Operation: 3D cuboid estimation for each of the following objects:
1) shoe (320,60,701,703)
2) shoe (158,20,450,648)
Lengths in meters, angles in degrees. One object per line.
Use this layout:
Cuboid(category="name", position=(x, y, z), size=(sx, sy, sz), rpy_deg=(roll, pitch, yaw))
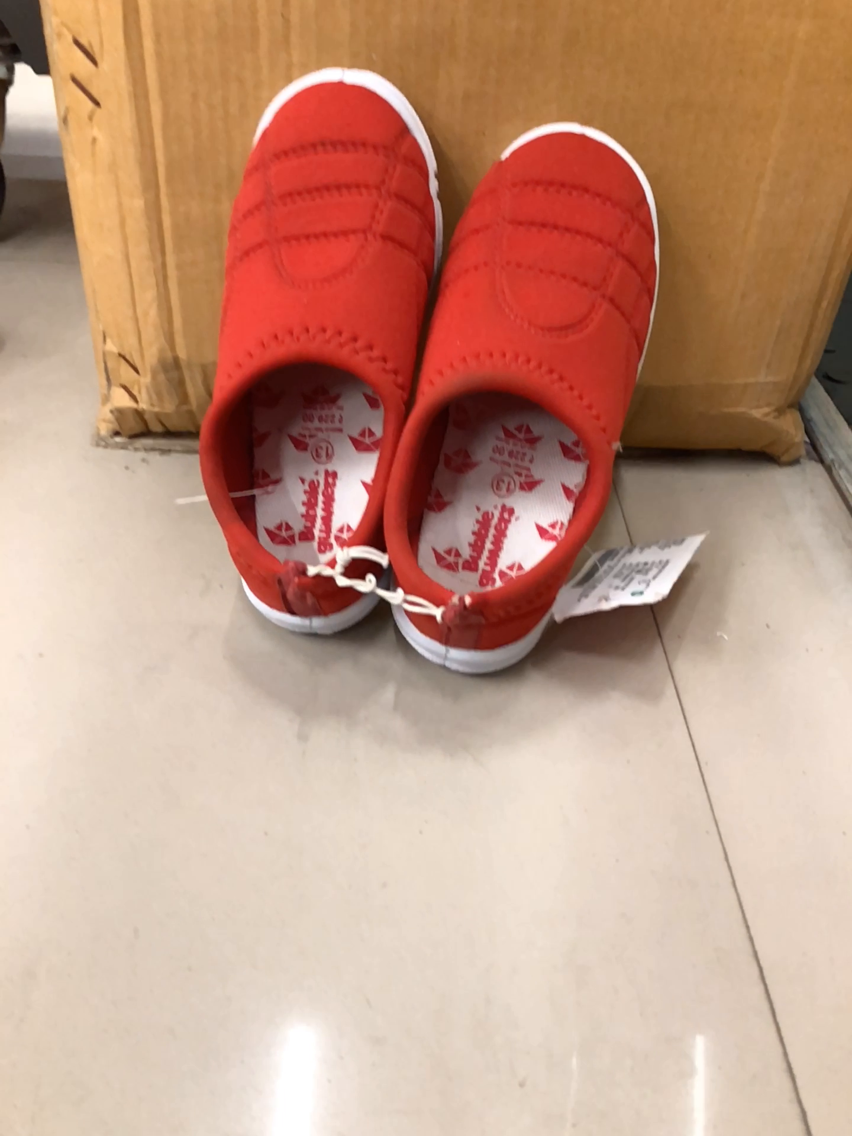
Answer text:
Cuboid(category="shoe", position=(0.036, -0.065, 0.356), size=(0.084, 0.208, 0.081), rpy_deg=(13, -1, 14))
Cuboid(category="shoe", position=(-0.040, -0.079, 0.355), size=(0.084, 0.205, 0.082), rpy_deg=(4, 1, 2))
